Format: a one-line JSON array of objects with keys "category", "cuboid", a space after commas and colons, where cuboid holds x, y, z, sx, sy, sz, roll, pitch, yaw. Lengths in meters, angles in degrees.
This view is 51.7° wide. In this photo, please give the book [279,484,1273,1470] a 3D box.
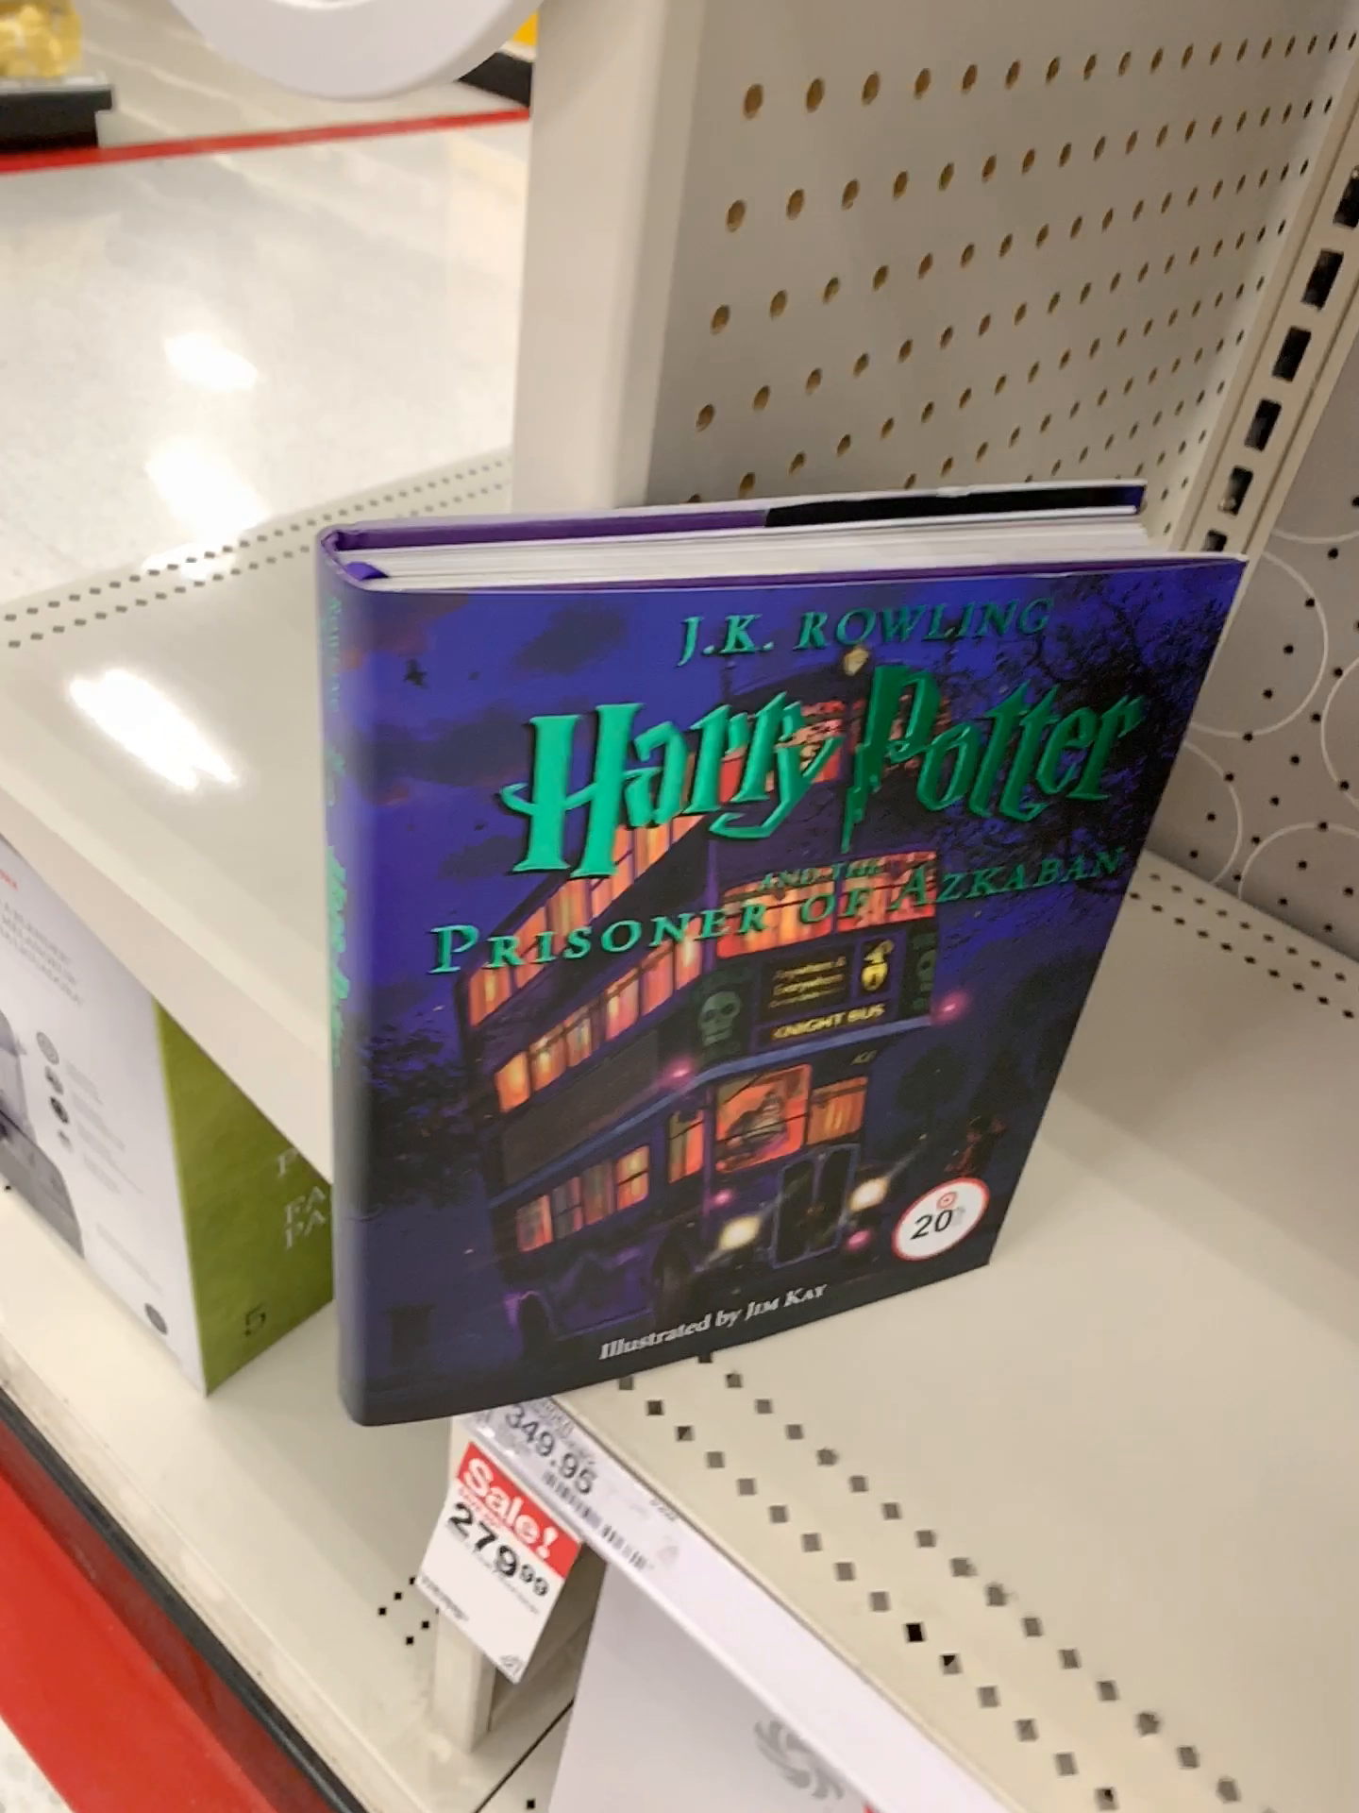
[{"category": "book", "cuboid": [0.018, 0.027, 0.413, 0.240, 0.280, 0.050, -9, 38, -22]}]
